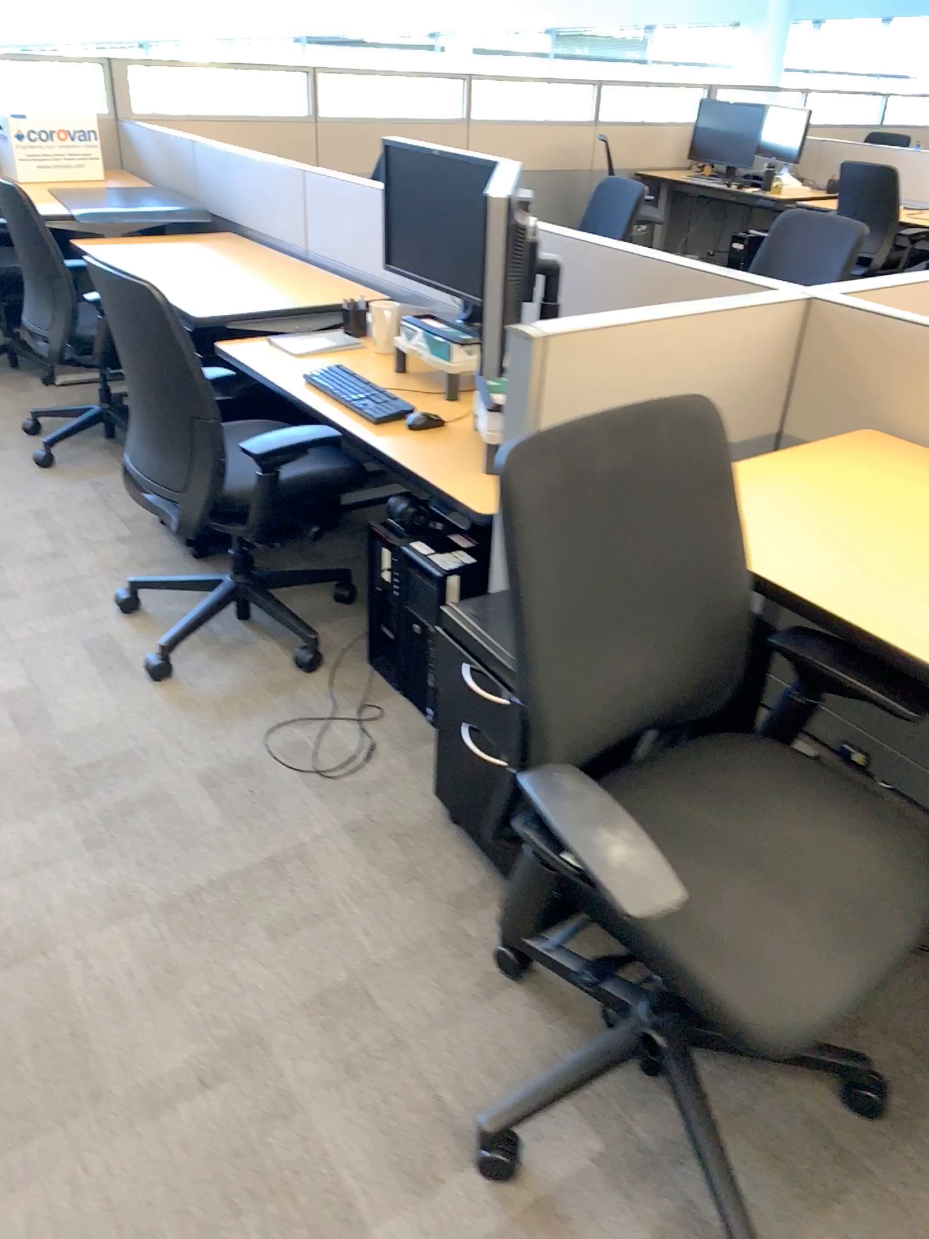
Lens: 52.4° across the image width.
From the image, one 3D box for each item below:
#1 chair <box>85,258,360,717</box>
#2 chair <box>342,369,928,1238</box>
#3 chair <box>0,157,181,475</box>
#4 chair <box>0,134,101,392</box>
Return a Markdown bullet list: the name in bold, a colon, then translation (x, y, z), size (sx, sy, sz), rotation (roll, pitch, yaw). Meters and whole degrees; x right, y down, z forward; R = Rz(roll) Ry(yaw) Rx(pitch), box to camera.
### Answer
- **chair**: translation (-0.608, -0.357, 2.470), size (0.460, 0.994, 0.543), rotation (-16, 36, -29)
- **chair**: translation (0.302, 0.300, 1.258), size (0.630, 0.994, 0.764), rotation (-17, 36, -30)
- **chair**: translation (-1.486, -1.150, 3.542), size (0.580, 0.994, 0.523), rotation (-17, 36, -30)
- **chair**: translation (-2.103, -1.650, 4.360), size (0.600, 0.994, 0.563), rotation (-11, 34, -23)
